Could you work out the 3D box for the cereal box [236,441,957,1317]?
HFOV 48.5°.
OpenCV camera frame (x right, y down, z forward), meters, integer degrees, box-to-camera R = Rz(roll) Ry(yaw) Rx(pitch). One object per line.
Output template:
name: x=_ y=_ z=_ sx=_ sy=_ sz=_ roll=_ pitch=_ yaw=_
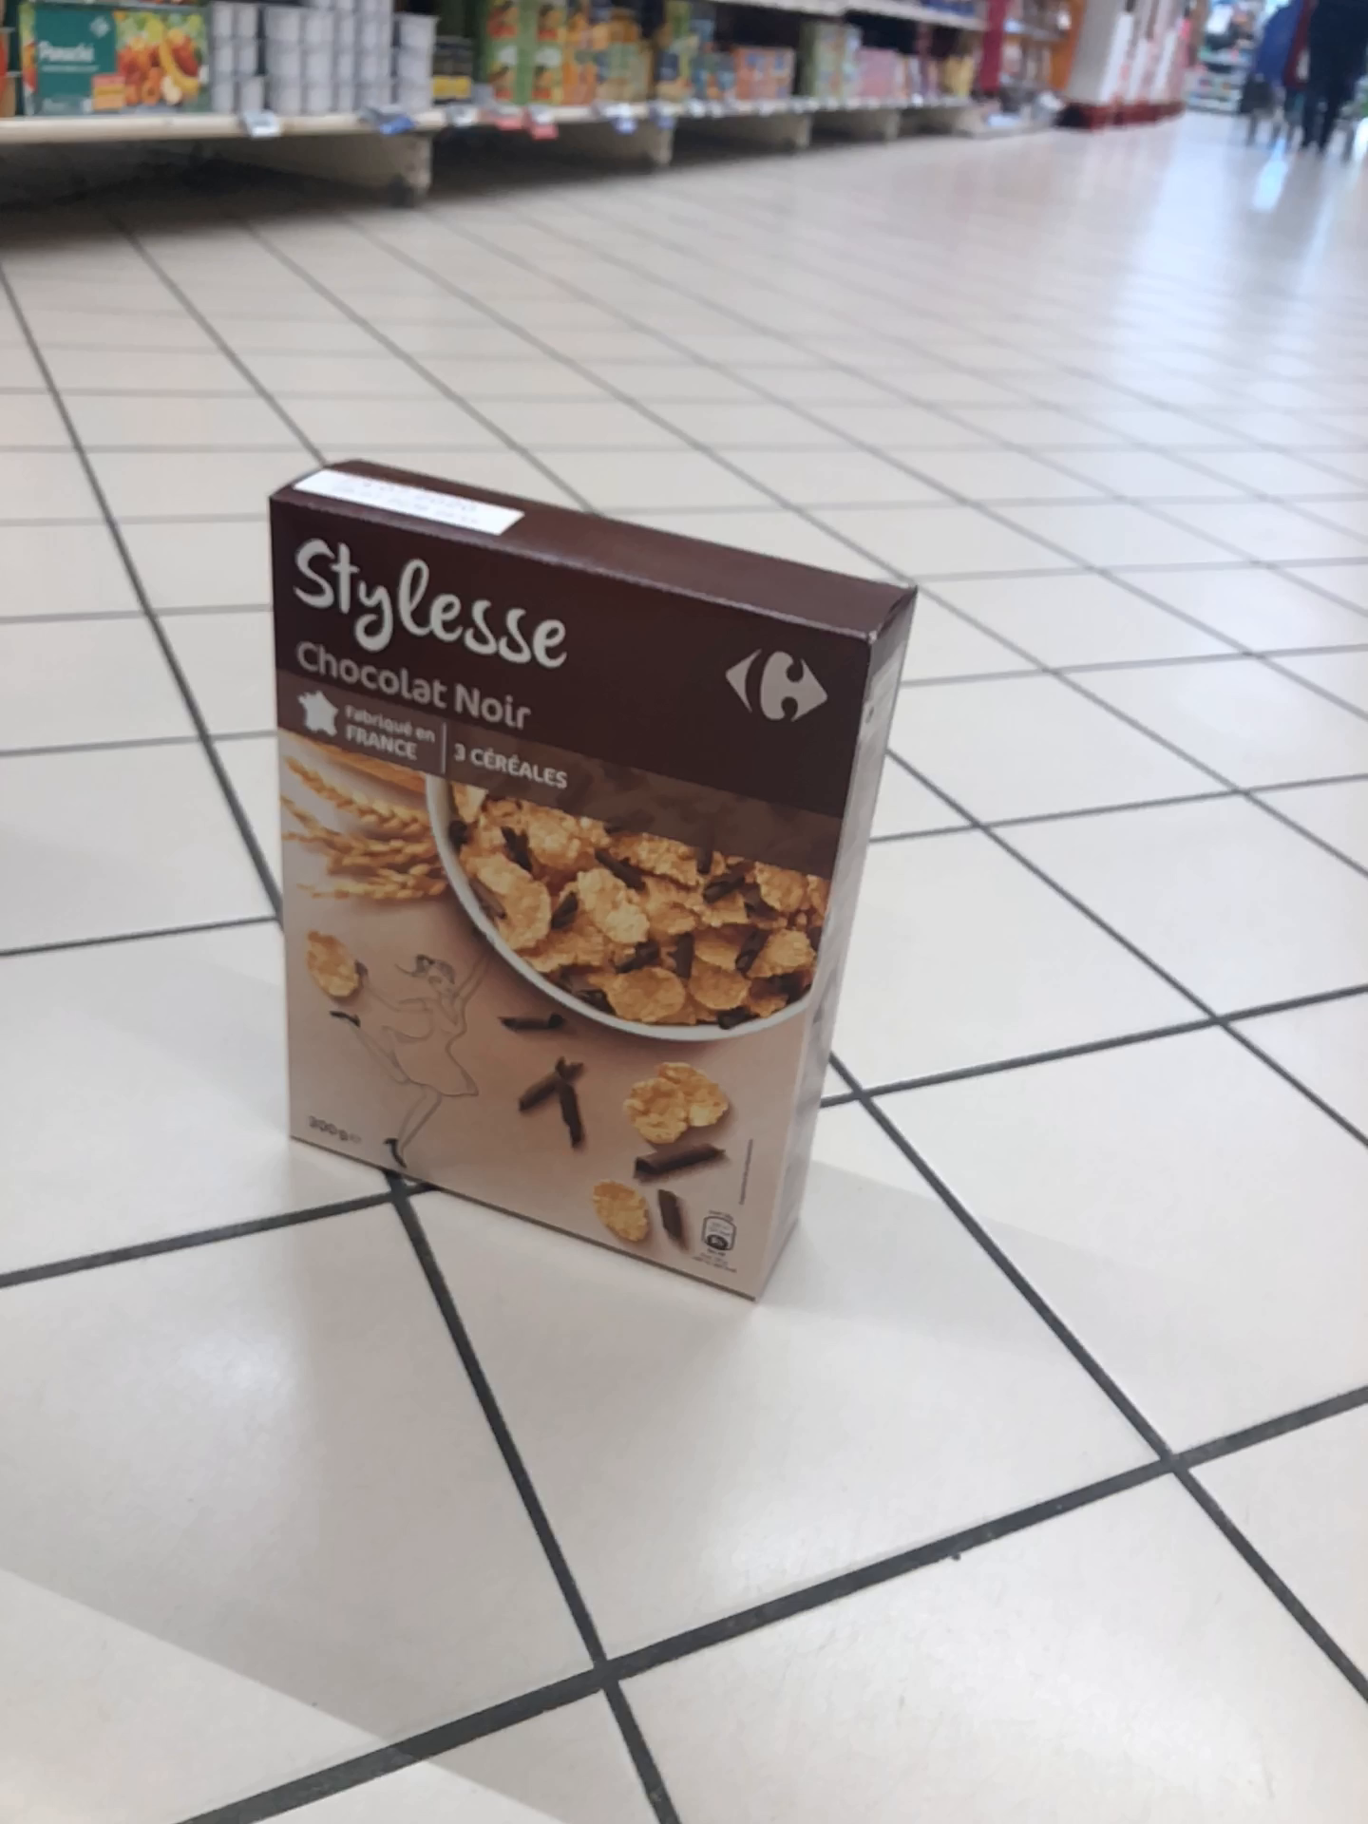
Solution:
cereal box: x=-0.038 y=-0.009 z=0.503 sx=0.200 sy=0.239 sz=0.070 roll=16 pitch=31 yaw=15
